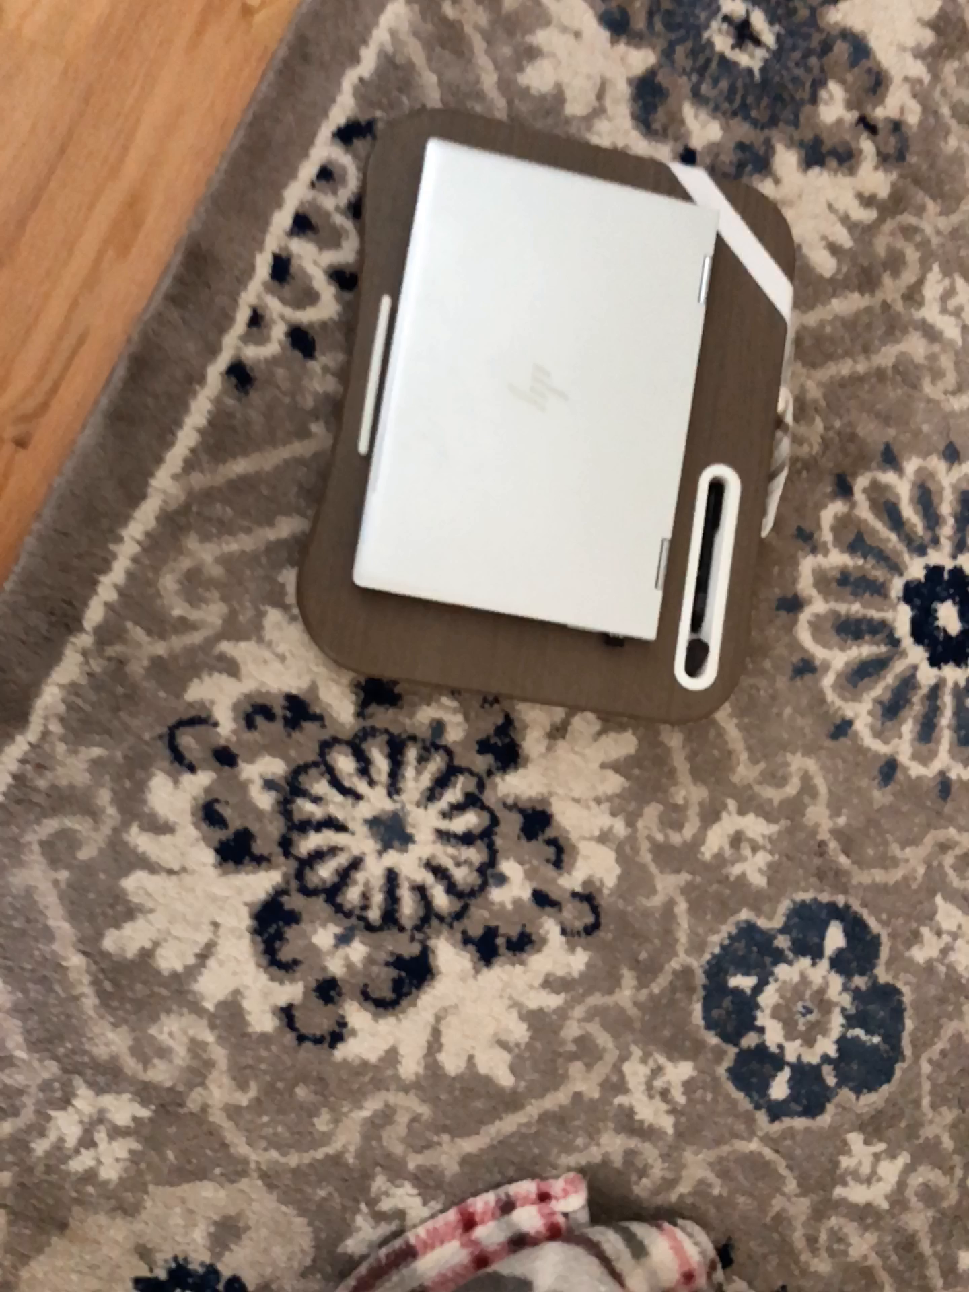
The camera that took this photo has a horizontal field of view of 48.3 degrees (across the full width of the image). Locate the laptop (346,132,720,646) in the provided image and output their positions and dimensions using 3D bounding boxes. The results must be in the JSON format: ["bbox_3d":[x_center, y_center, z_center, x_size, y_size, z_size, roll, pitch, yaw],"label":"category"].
[{"bbox_3d":[0.043,-0.197,0.843,0.241,0.026,0.354,10,83,-11],"label":"laptop"}]
